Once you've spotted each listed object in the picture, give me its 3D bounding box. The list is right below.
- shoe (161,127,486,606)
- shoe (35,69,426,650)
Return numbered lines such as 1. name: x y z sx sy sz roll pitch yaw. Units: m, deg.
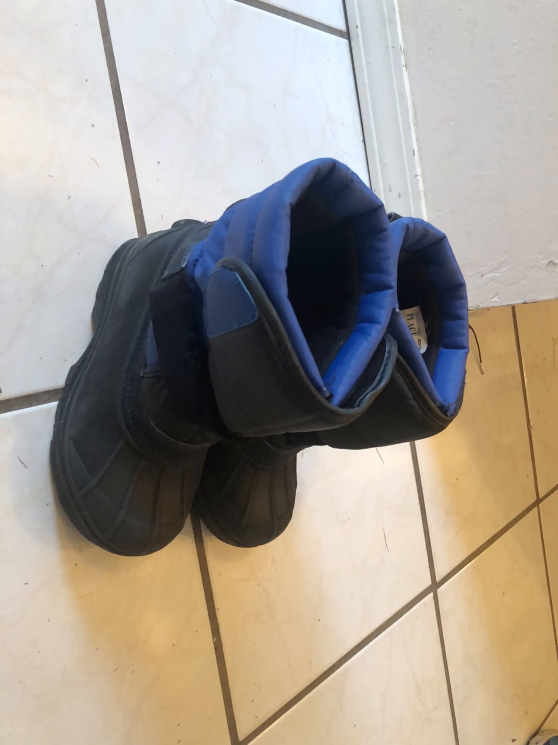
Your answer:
1. shoe: 0.024 0.002 0.423 0.100 0.199 0.250 8 81 -45
2. shoe: -0.033 0.000 0.345 0.100 0.199 0.230 11 79 -44
